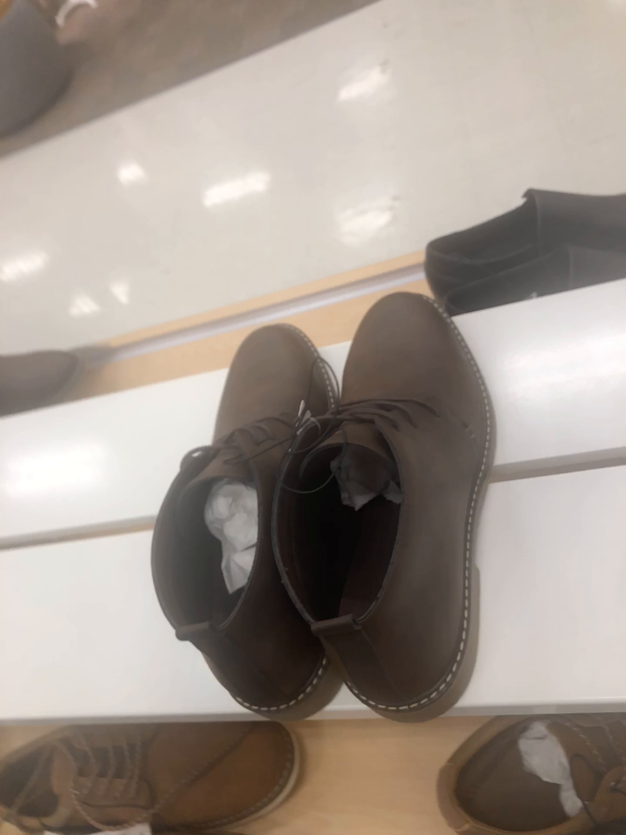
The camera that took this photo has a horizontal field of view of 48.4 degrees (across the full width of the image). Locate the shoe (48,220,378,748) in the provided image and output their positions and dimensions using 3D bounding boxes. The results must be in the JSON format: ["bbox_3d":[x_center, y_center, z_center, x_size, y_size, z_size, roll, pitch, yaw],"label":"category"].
[{"bbox_3d":[-0.058,0.043,0.503,0.127,0.173,0.315,-16,52,13],"label":"shoe"}]

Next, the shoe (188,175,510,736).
[{"bbox_3d":[0.047,0.024,0.469,0.132,0.173,0.315,-6,56,20],"label":"shoe"}]
